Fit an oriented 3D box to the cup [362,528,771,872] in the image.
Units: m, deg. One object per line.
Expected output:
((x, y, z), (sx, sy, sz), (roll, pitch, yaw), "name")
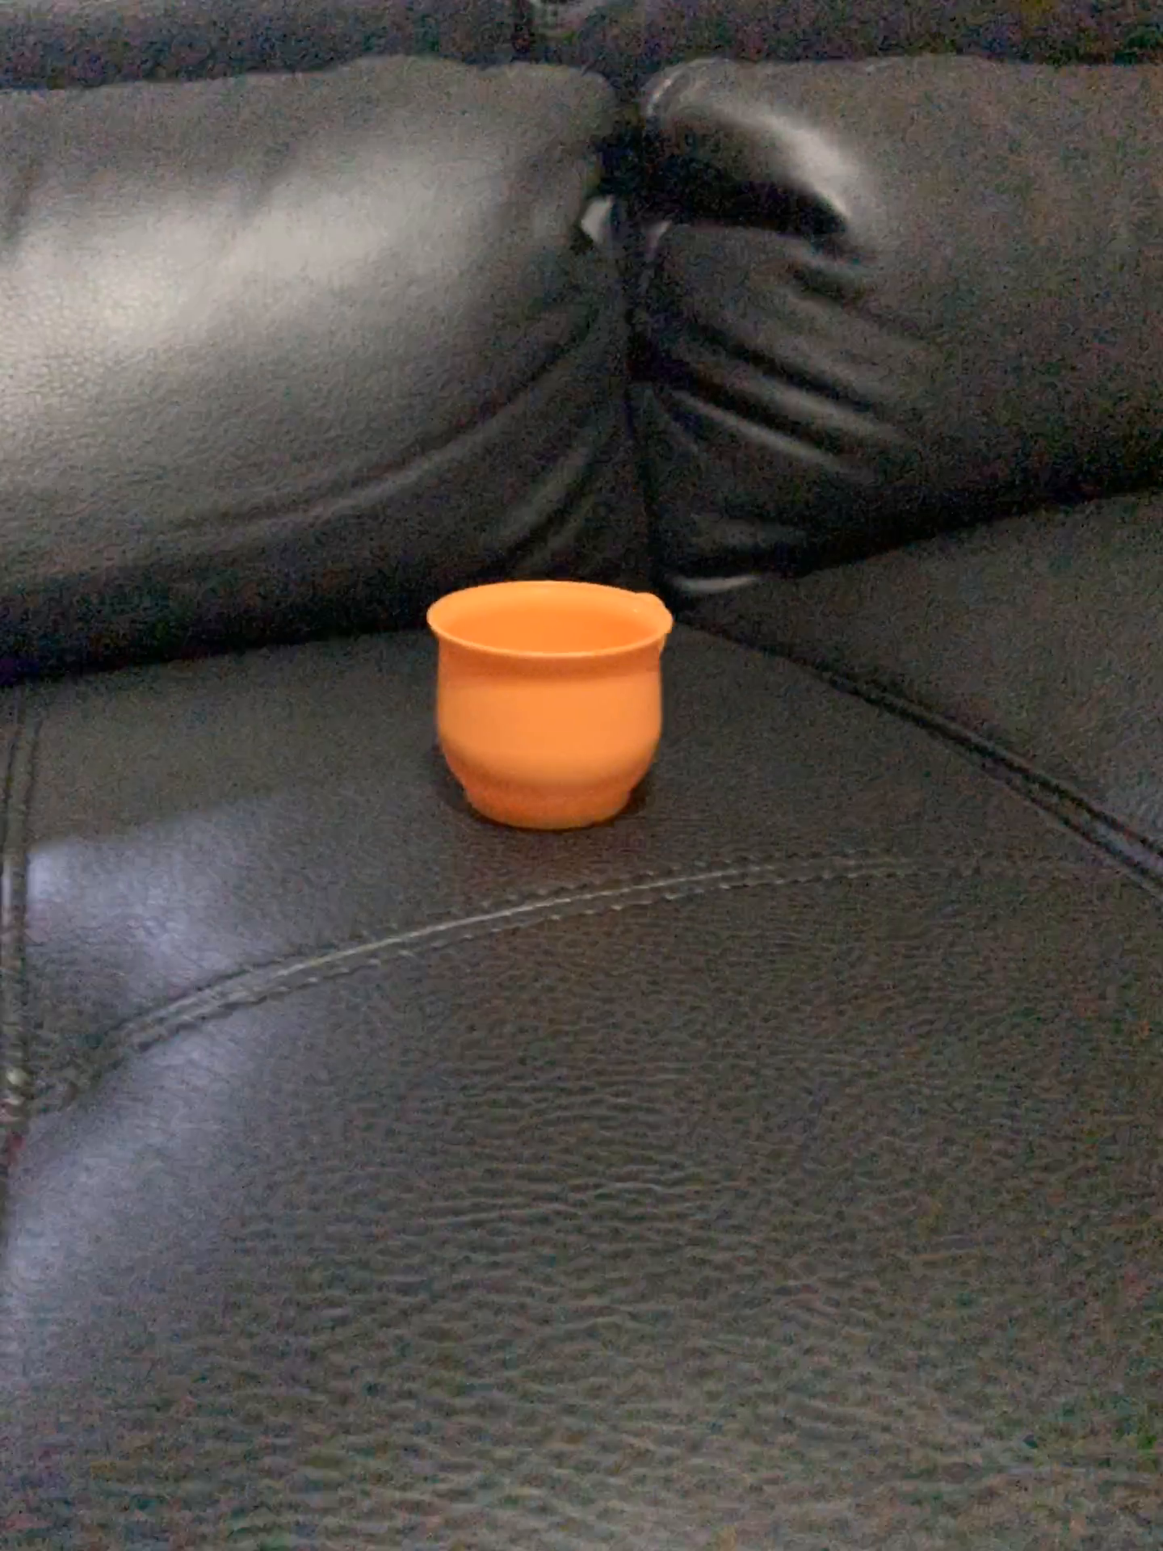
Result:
((-0.002, -0.024, 0.297), (0.063, 0.046, 0.081), (18, 32, 29), "cup")
